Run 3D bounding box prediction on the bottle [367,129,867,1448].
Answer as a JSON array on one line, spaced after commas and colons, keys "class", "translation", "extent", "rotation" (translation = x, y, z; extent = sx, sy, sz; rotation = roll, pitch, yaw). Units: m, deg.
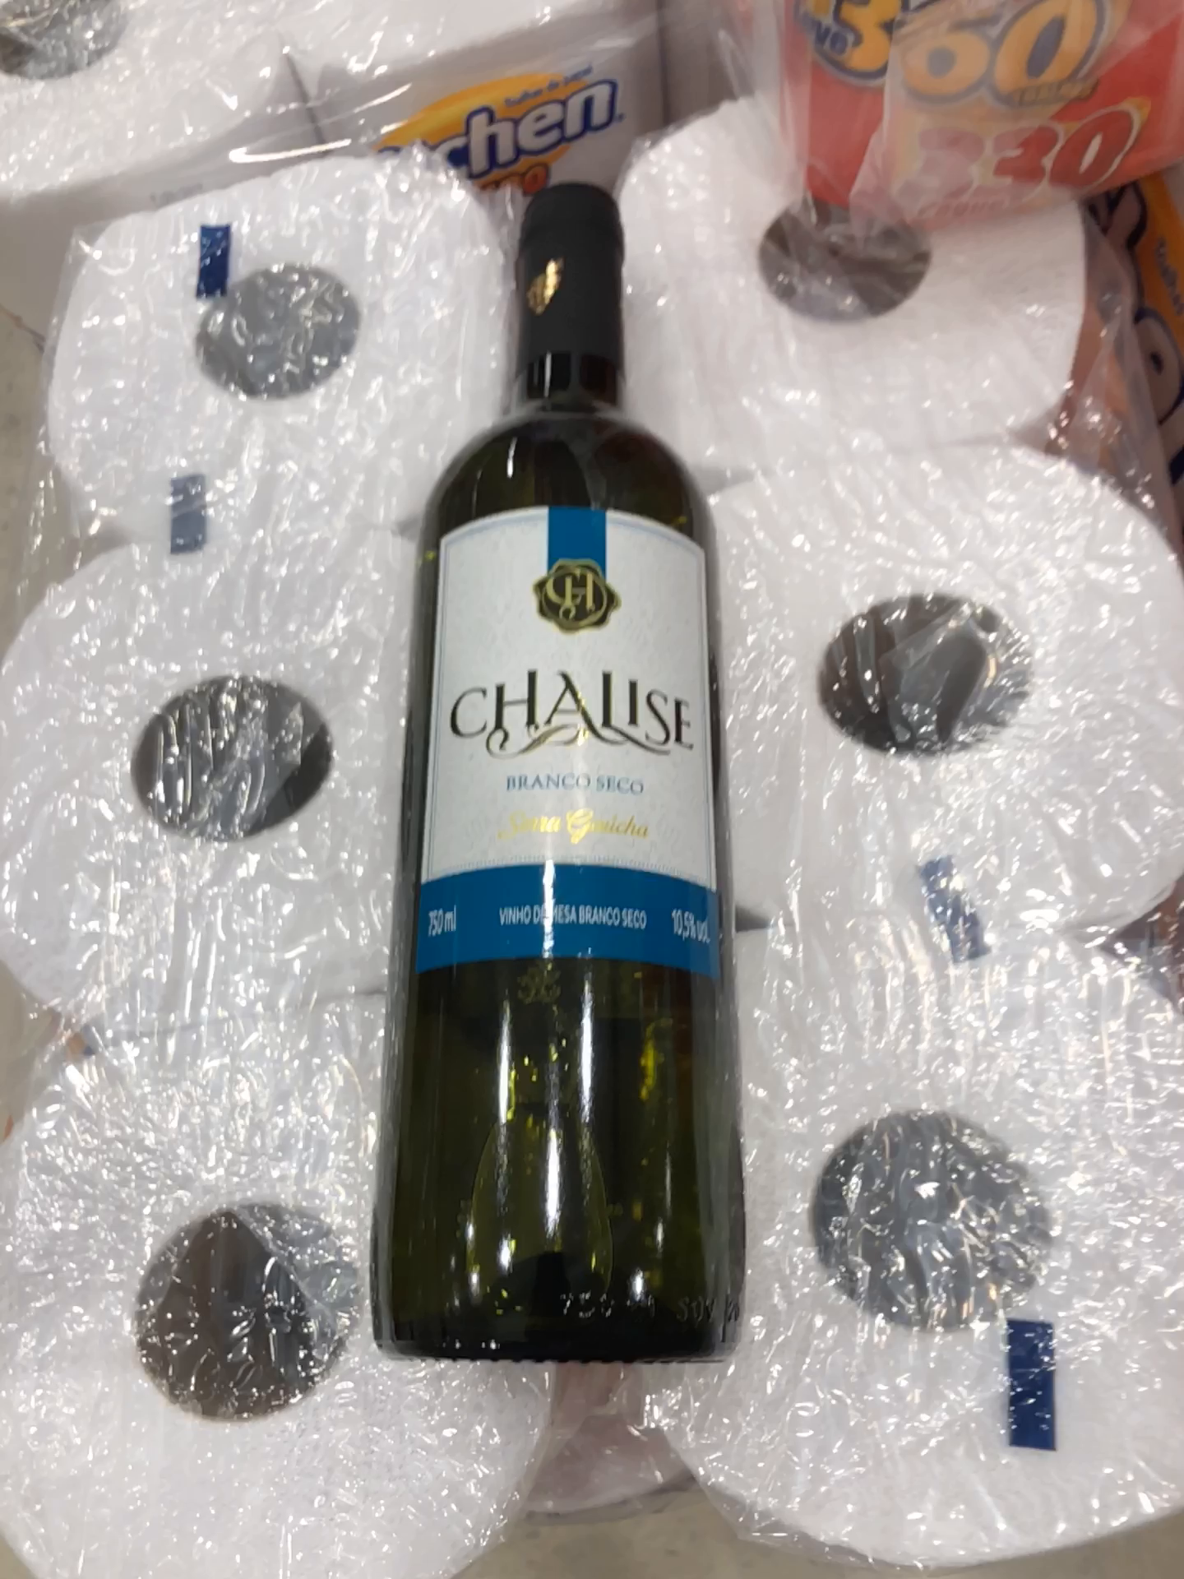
[{"class": "bottle", "translation": [0.003, -0.014, 0.291], "extent": [0.080, 0.060, 0.281], "rotation": [3, 67, -6]}]
